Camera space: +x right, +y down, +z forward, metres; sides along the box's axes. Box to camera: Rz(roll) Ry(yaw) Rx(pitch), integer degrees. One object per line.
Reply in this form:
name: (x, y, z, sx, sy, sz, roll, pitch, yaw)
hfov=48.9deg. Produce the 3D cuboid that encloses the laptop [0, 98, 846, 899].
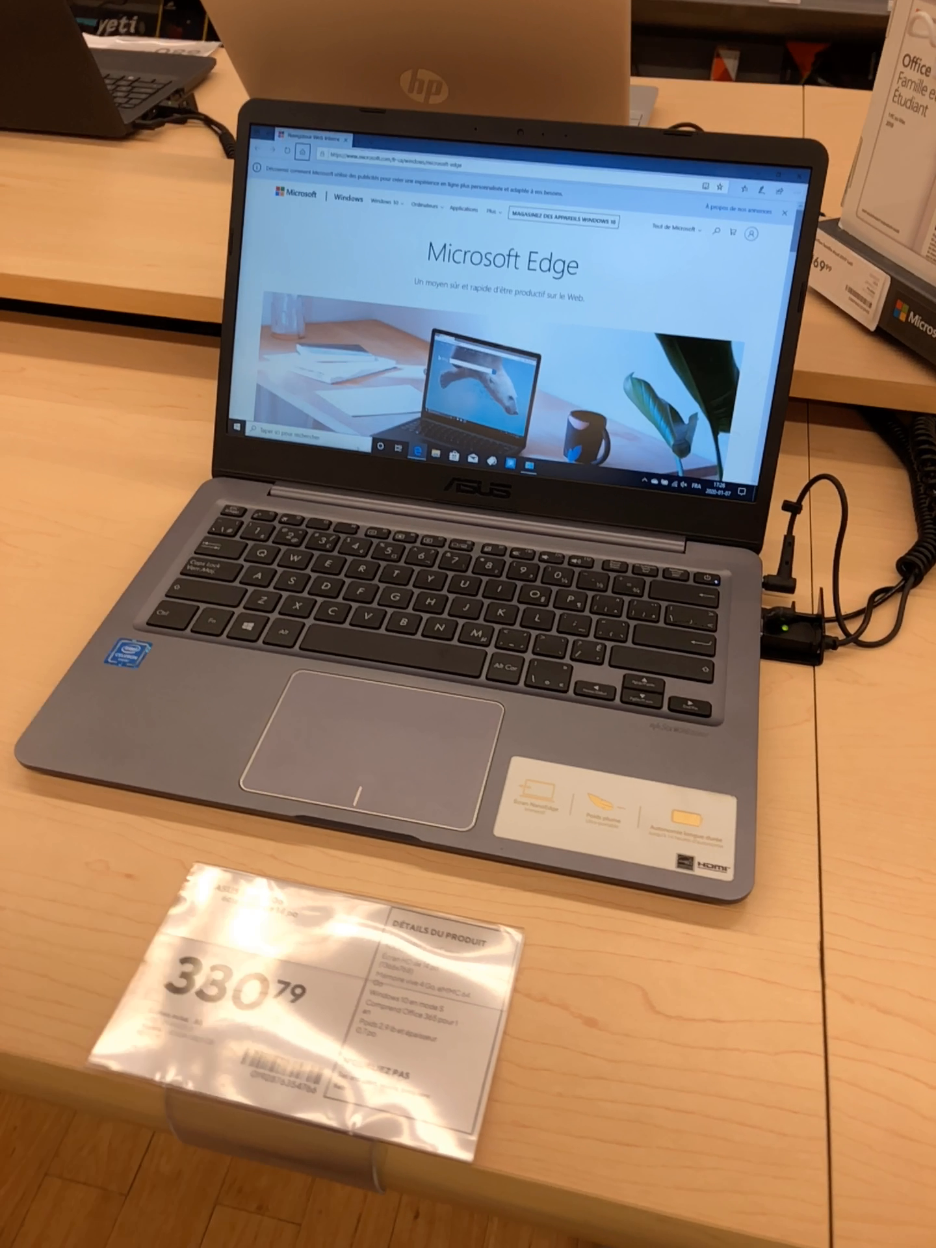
laptop: (-0.008, -0.091, 0.487, 0.309, 0.172, 0.328, 9, 45, 10)
